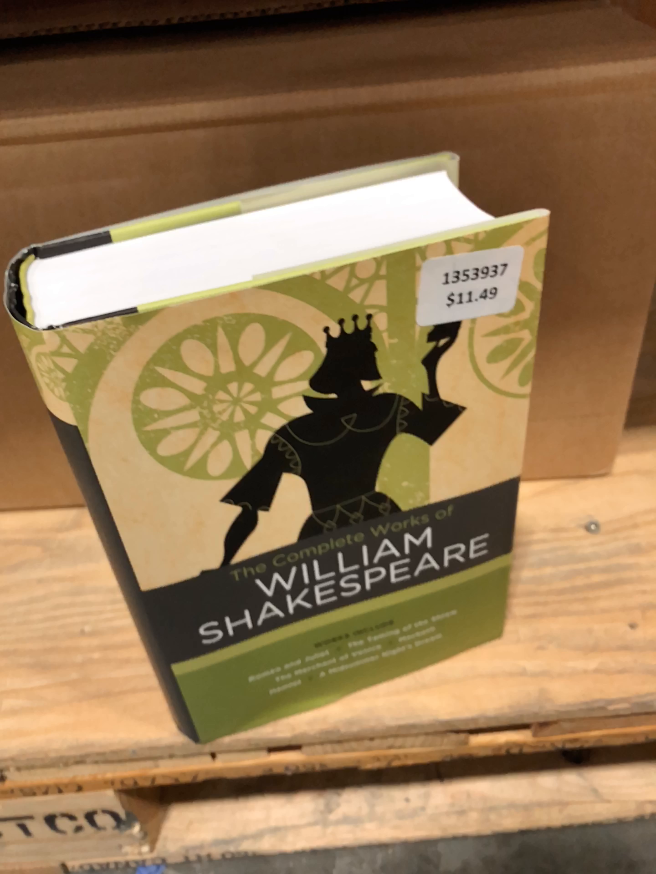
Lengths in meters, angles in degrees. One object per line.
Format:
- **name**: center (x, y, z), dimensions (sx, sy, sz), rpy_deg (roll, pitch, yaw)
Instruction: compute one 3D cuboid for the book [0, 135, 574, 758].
- **book**: center (-0.009, 0.017, 0.328), dimensions (0.181, 0.239, 0.080), rpy_deg (-16, 41, -11)
